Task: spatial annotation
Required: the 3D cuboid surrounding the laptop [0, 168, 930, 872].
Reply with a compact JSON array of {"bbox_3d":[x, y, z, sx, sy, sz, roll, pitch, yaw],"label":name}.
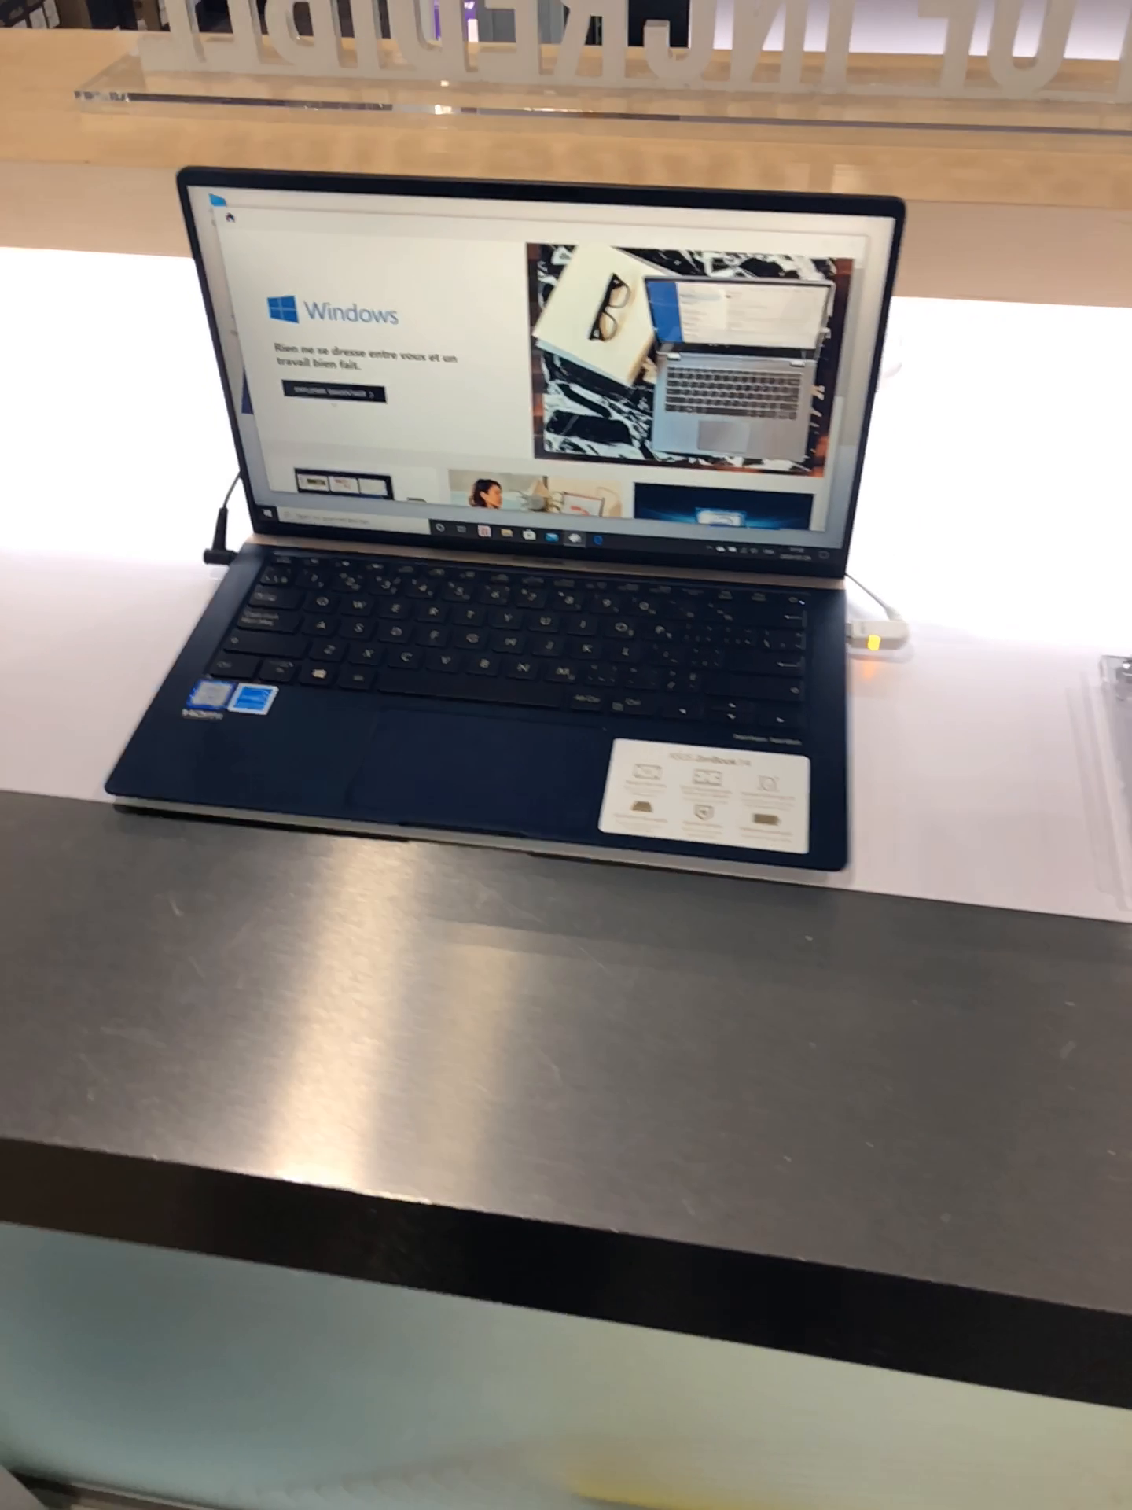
[{"bbox_3d":[-0.030,-0.100,0.501,0.301,0.182,0.192,5,44,6],"label":"laptop"}]
